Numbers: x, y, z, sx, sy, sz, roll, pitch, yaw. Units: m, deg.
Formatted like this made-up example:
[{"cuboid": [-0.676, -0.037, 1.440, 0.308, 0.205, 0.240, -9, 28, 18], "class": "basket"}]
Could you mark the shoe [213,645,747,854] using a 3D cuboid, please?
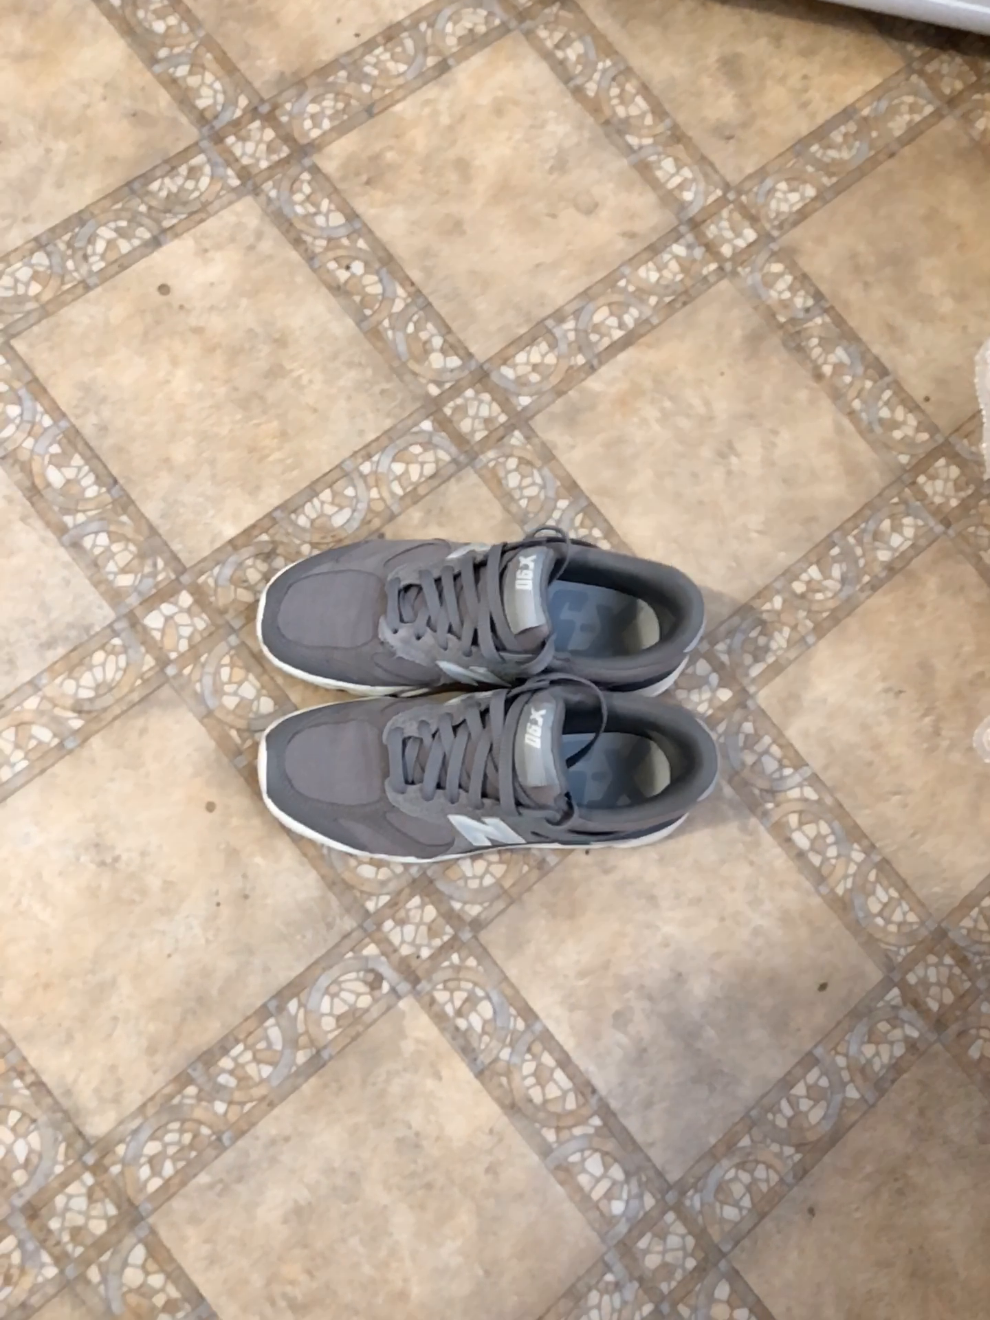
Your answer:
[{"cuboid": [-0.011, 0.057, 0.614, 0.270, 0.120, 0.100, 2, 79, -8], "class": "shoe"}]

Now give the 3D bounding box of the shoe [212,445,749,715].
[{"cuboid": [-0.009, -0.037, 0.611, 0.270, 0.120, 0.100, 5, 78, -7], "class": "shoe"}]
